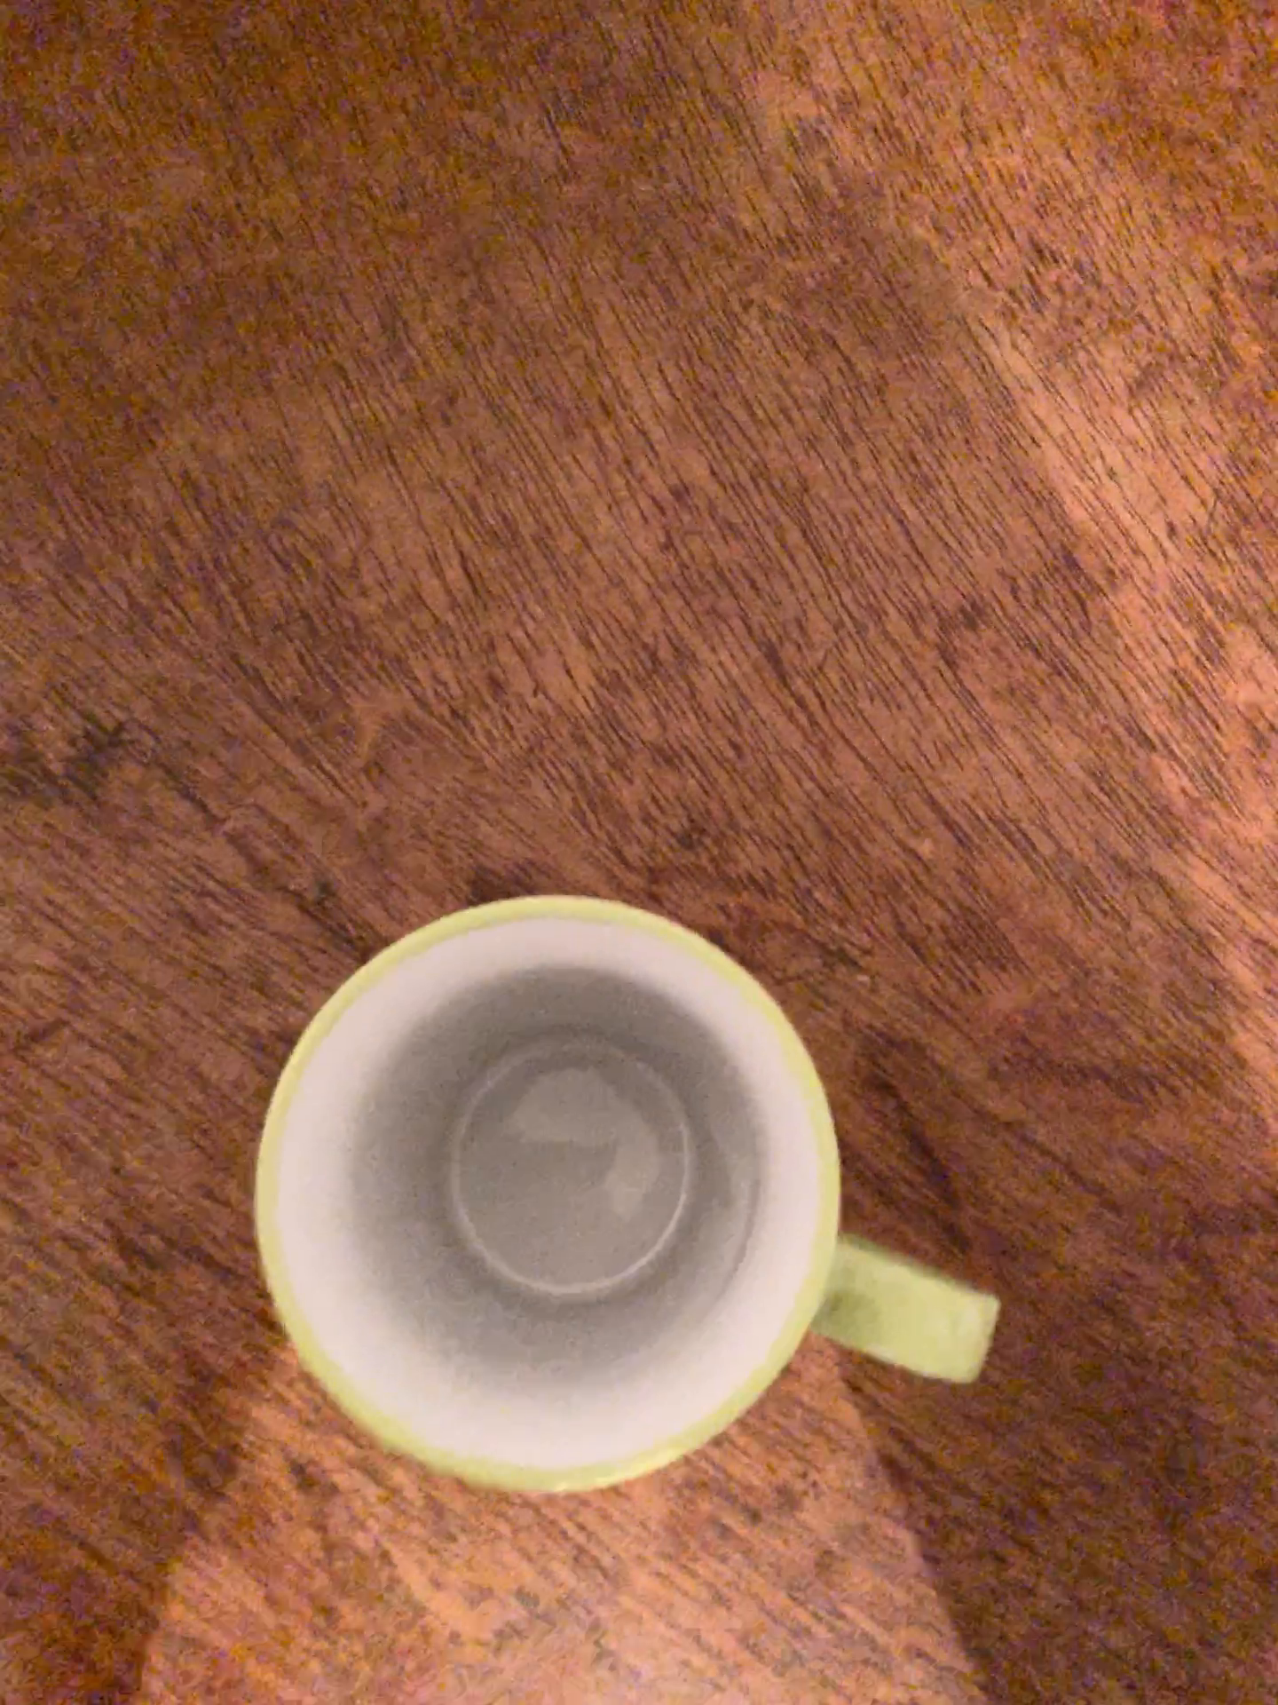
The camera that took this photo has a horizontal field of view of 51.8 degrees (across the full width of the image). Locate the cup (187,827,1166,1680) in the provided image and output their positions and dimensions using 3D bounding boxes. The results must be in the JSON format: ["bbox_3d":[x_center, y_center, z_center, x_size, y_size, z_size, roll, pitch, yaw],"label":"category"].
[{"bbox_3d":[0.007,0.063,0.232,0.120,0.100,0.090,12,78,2],"label":"cup"}]
